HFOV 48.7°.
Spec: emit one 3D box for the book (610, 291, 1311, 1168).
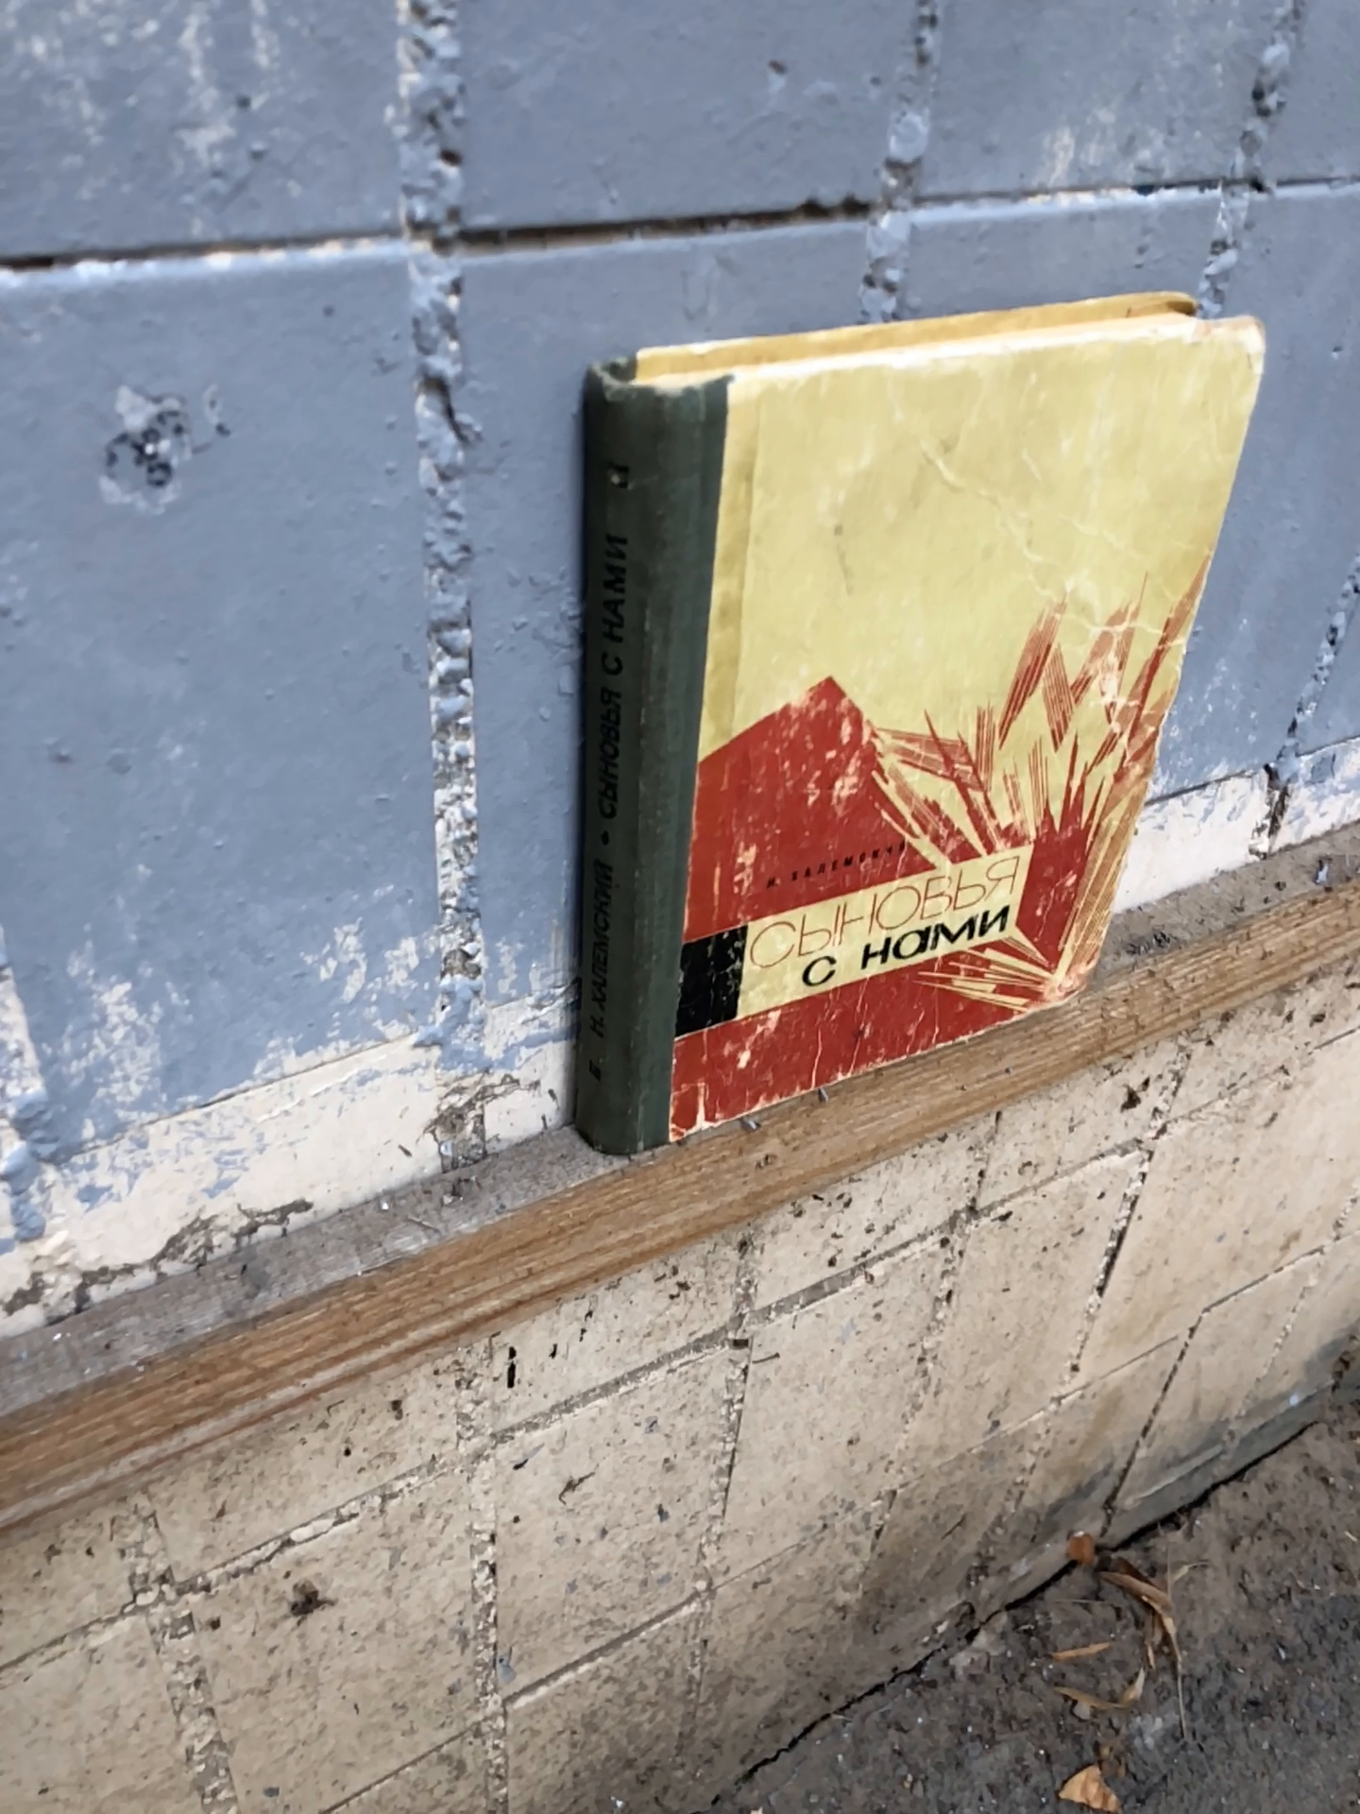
[{"bbox_3d":[0.051,-0.033,0.300,0.135,0.156,0.020,-16,38,-26],"label":"book"}]
